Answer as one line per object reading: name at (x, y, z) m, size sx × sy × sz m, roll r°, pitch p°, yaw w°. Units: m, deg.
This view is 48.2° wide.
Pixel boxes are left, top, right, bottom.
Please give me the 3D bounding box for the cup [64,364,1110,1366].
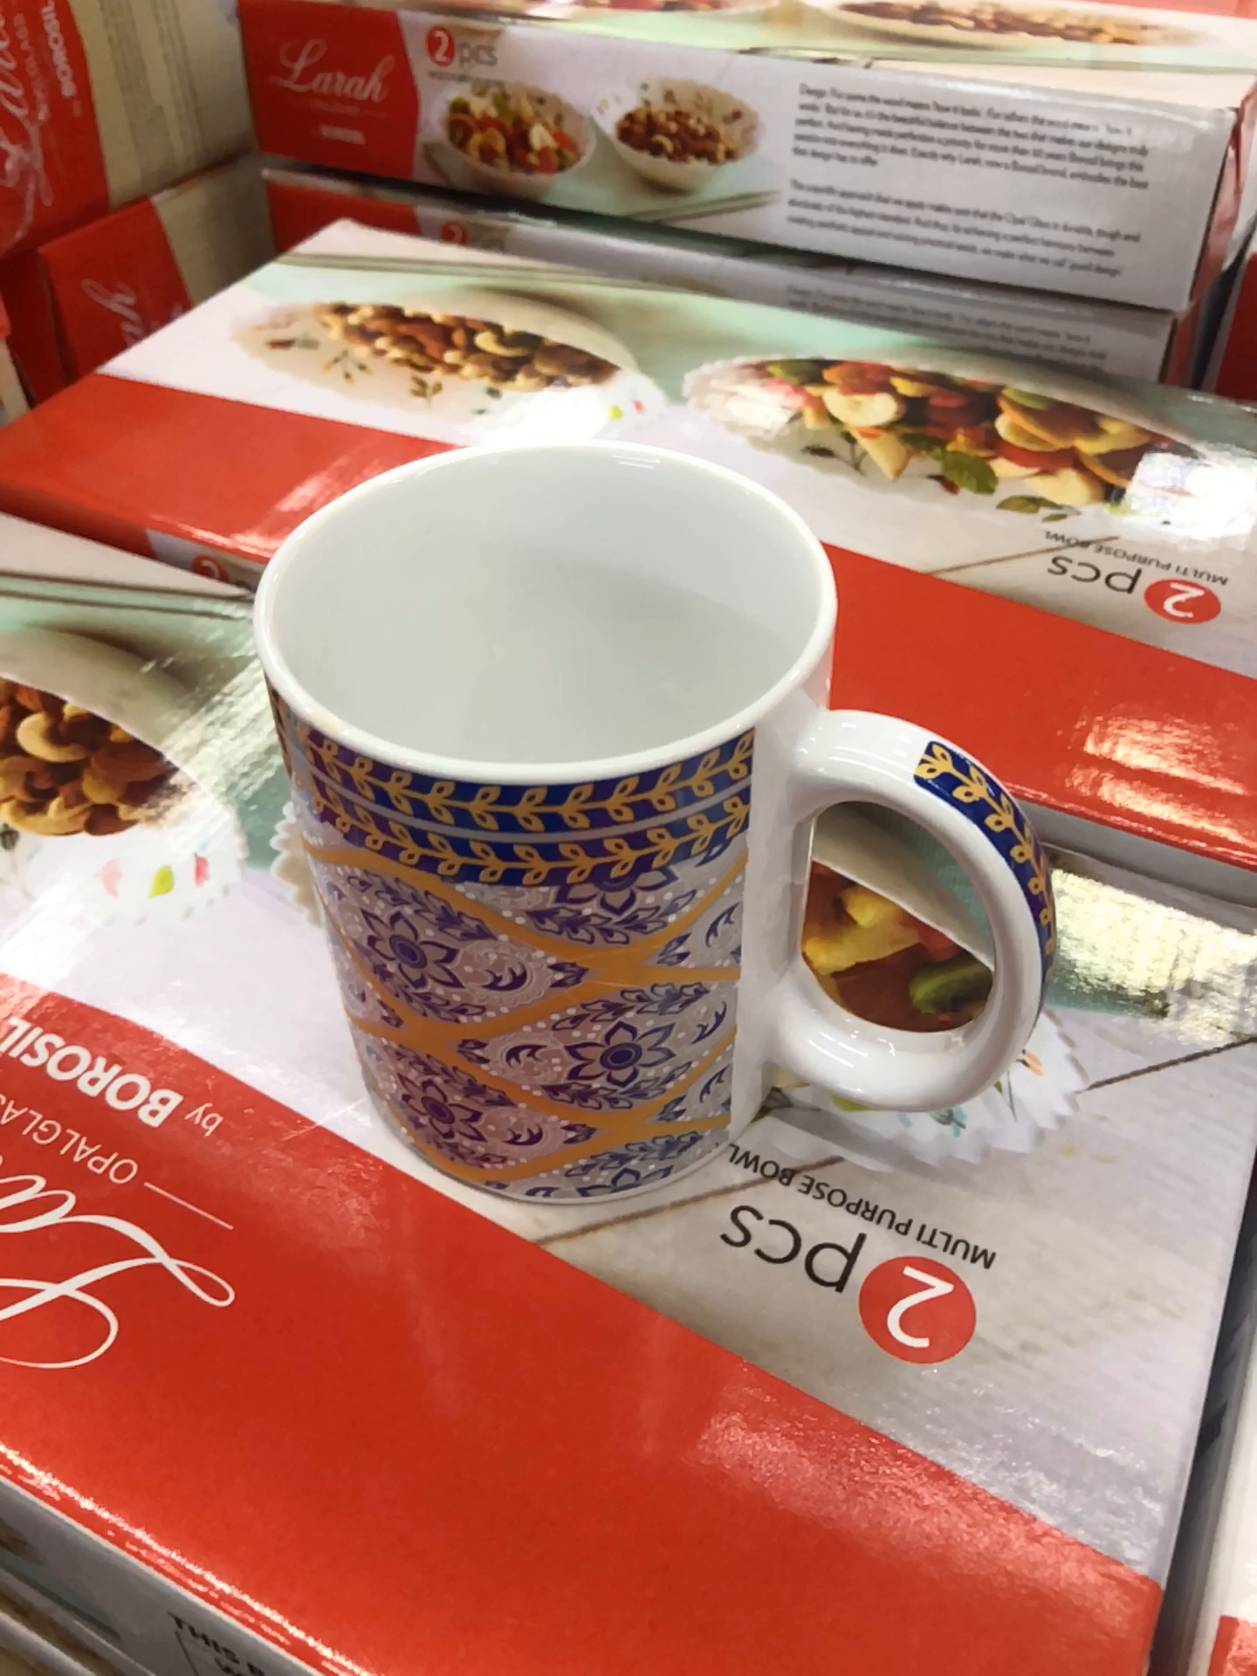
cup at (0.000, 0.001, 0.209) m, size 0.110 × 0.099 × 0.080 m, roll 13°, pitch 44°, yaw 14°
